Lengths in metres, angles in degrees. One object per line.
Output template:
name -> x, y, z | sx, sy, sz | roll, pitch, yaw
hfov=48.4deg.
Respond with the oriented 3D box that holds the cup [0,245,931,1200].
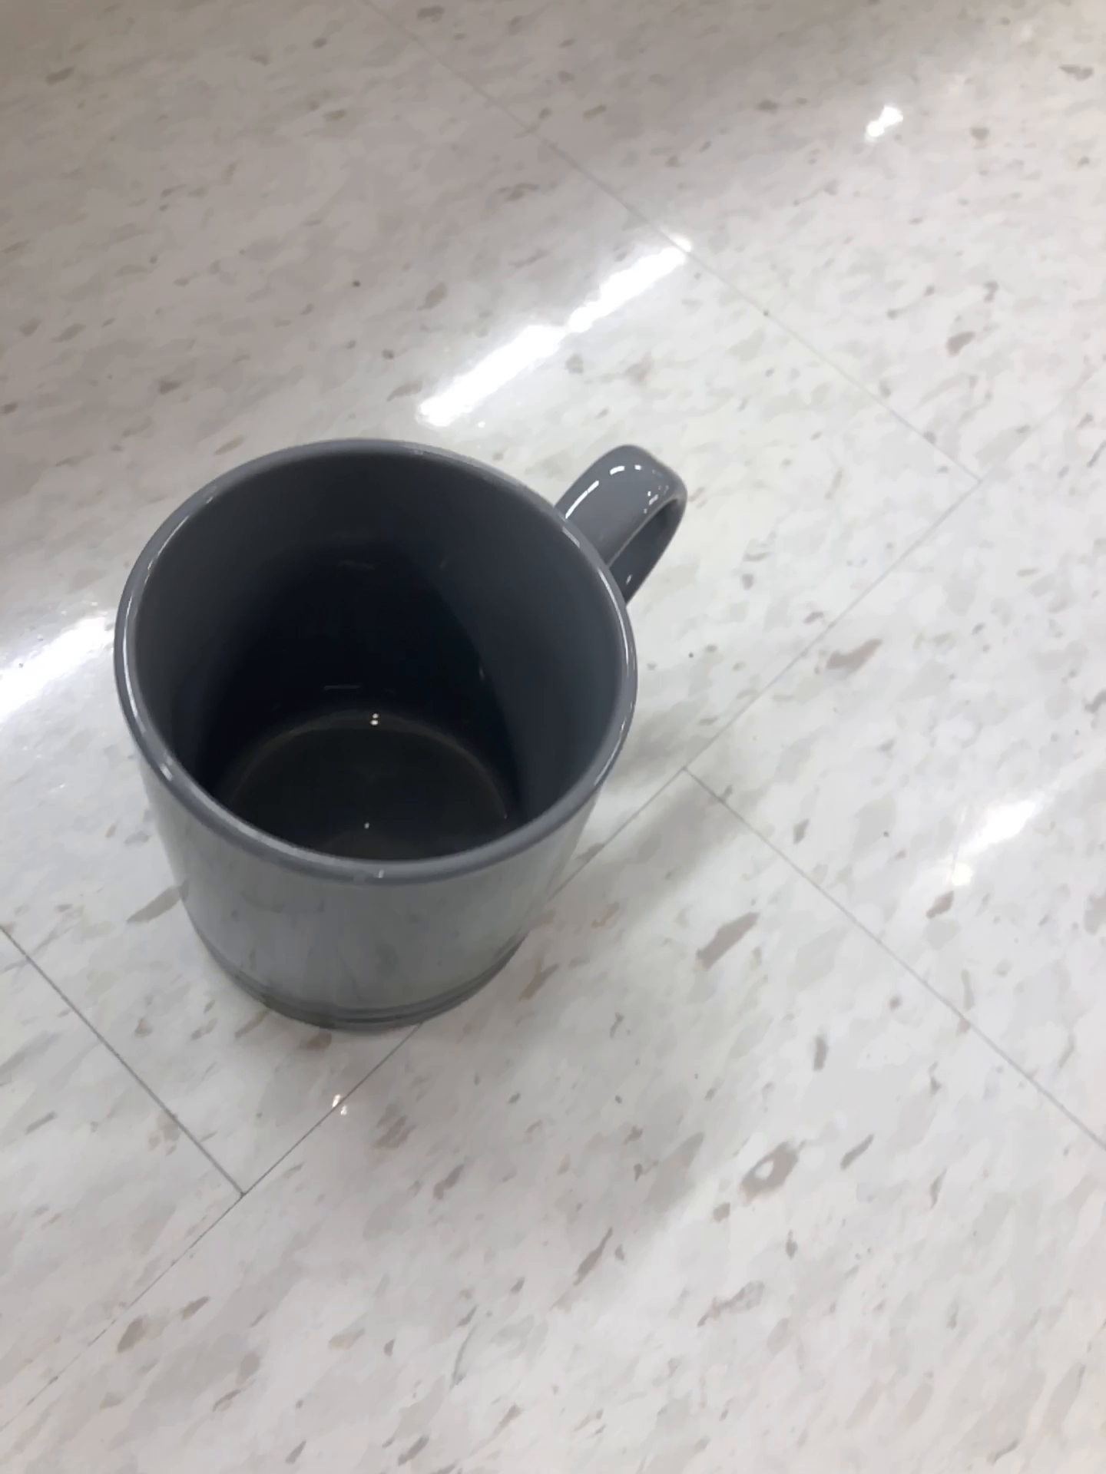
cup -> -0.020, -0.004, 0.254 | 0.100, 0.090, 0.150 | 41, 63, 10
